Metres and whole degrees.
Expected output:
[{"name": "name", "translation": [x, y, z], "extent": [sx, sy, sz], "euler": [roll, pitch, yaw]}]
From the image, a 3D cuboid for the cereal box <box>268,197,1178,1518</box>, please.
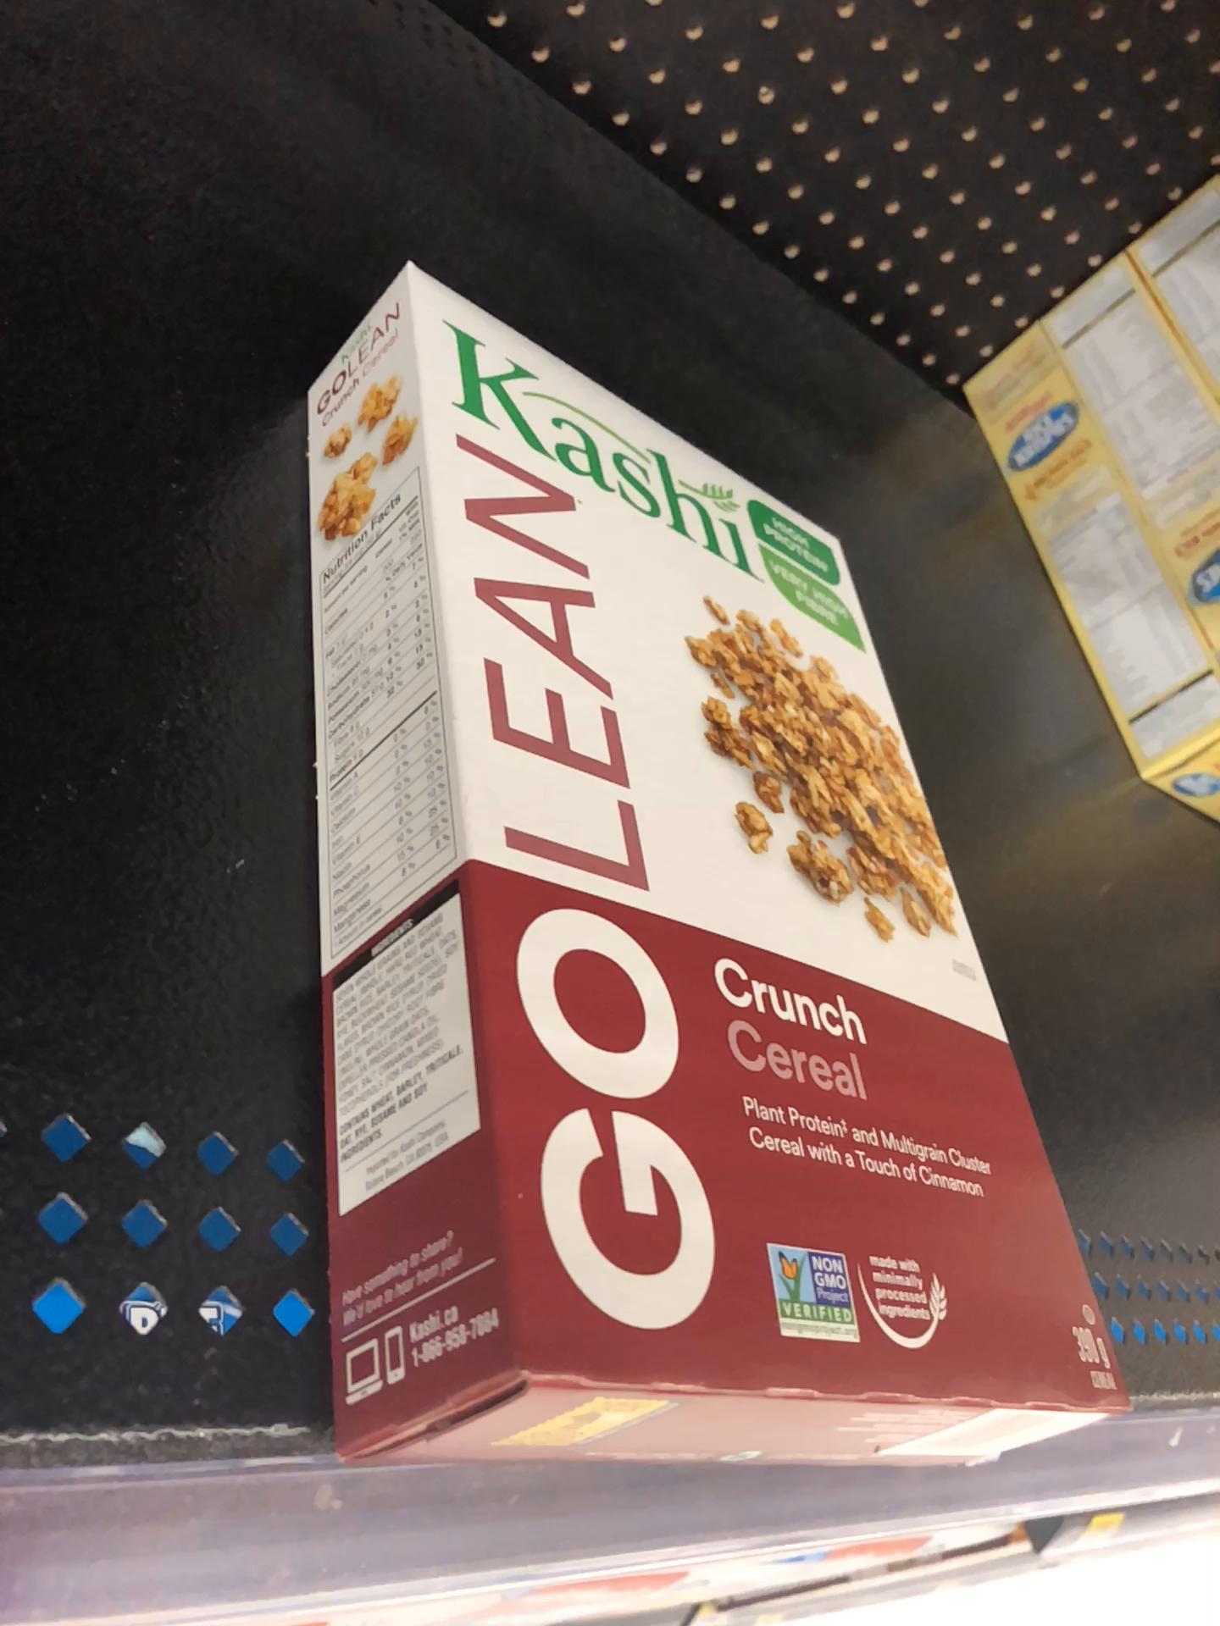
[{"name": "cereal box", "translation": [0.013, 0.002, 0.326], "extent": [0.181, 0.050, 0.290], "euler": [23, 42, -38]}]
